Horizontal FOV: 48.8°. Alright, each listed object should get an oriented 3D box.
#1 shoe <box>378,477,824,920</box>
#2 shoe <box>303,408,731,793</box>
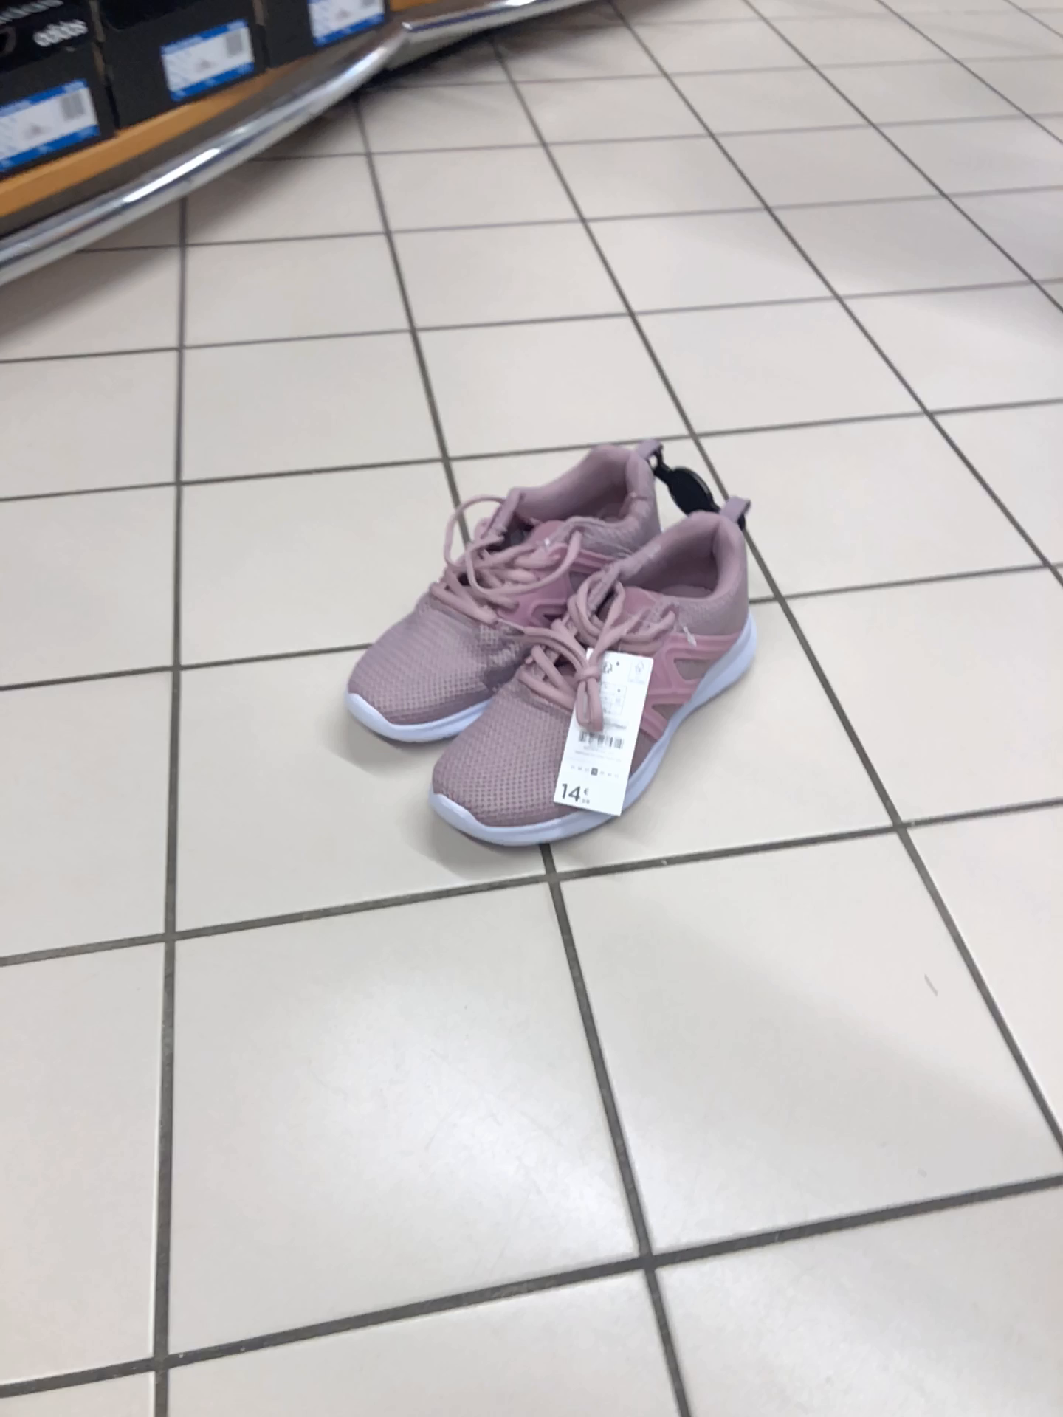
[{"bbox_3d":[0.046,-0.017,0.676,0.103,0.099,0.261,33,53,27],"label":"shoe"},{"bbox_3d":[-0.001,-0.076,0.724,0.100,0.092,0.261,35,54,28],"label":"shoe"}]
